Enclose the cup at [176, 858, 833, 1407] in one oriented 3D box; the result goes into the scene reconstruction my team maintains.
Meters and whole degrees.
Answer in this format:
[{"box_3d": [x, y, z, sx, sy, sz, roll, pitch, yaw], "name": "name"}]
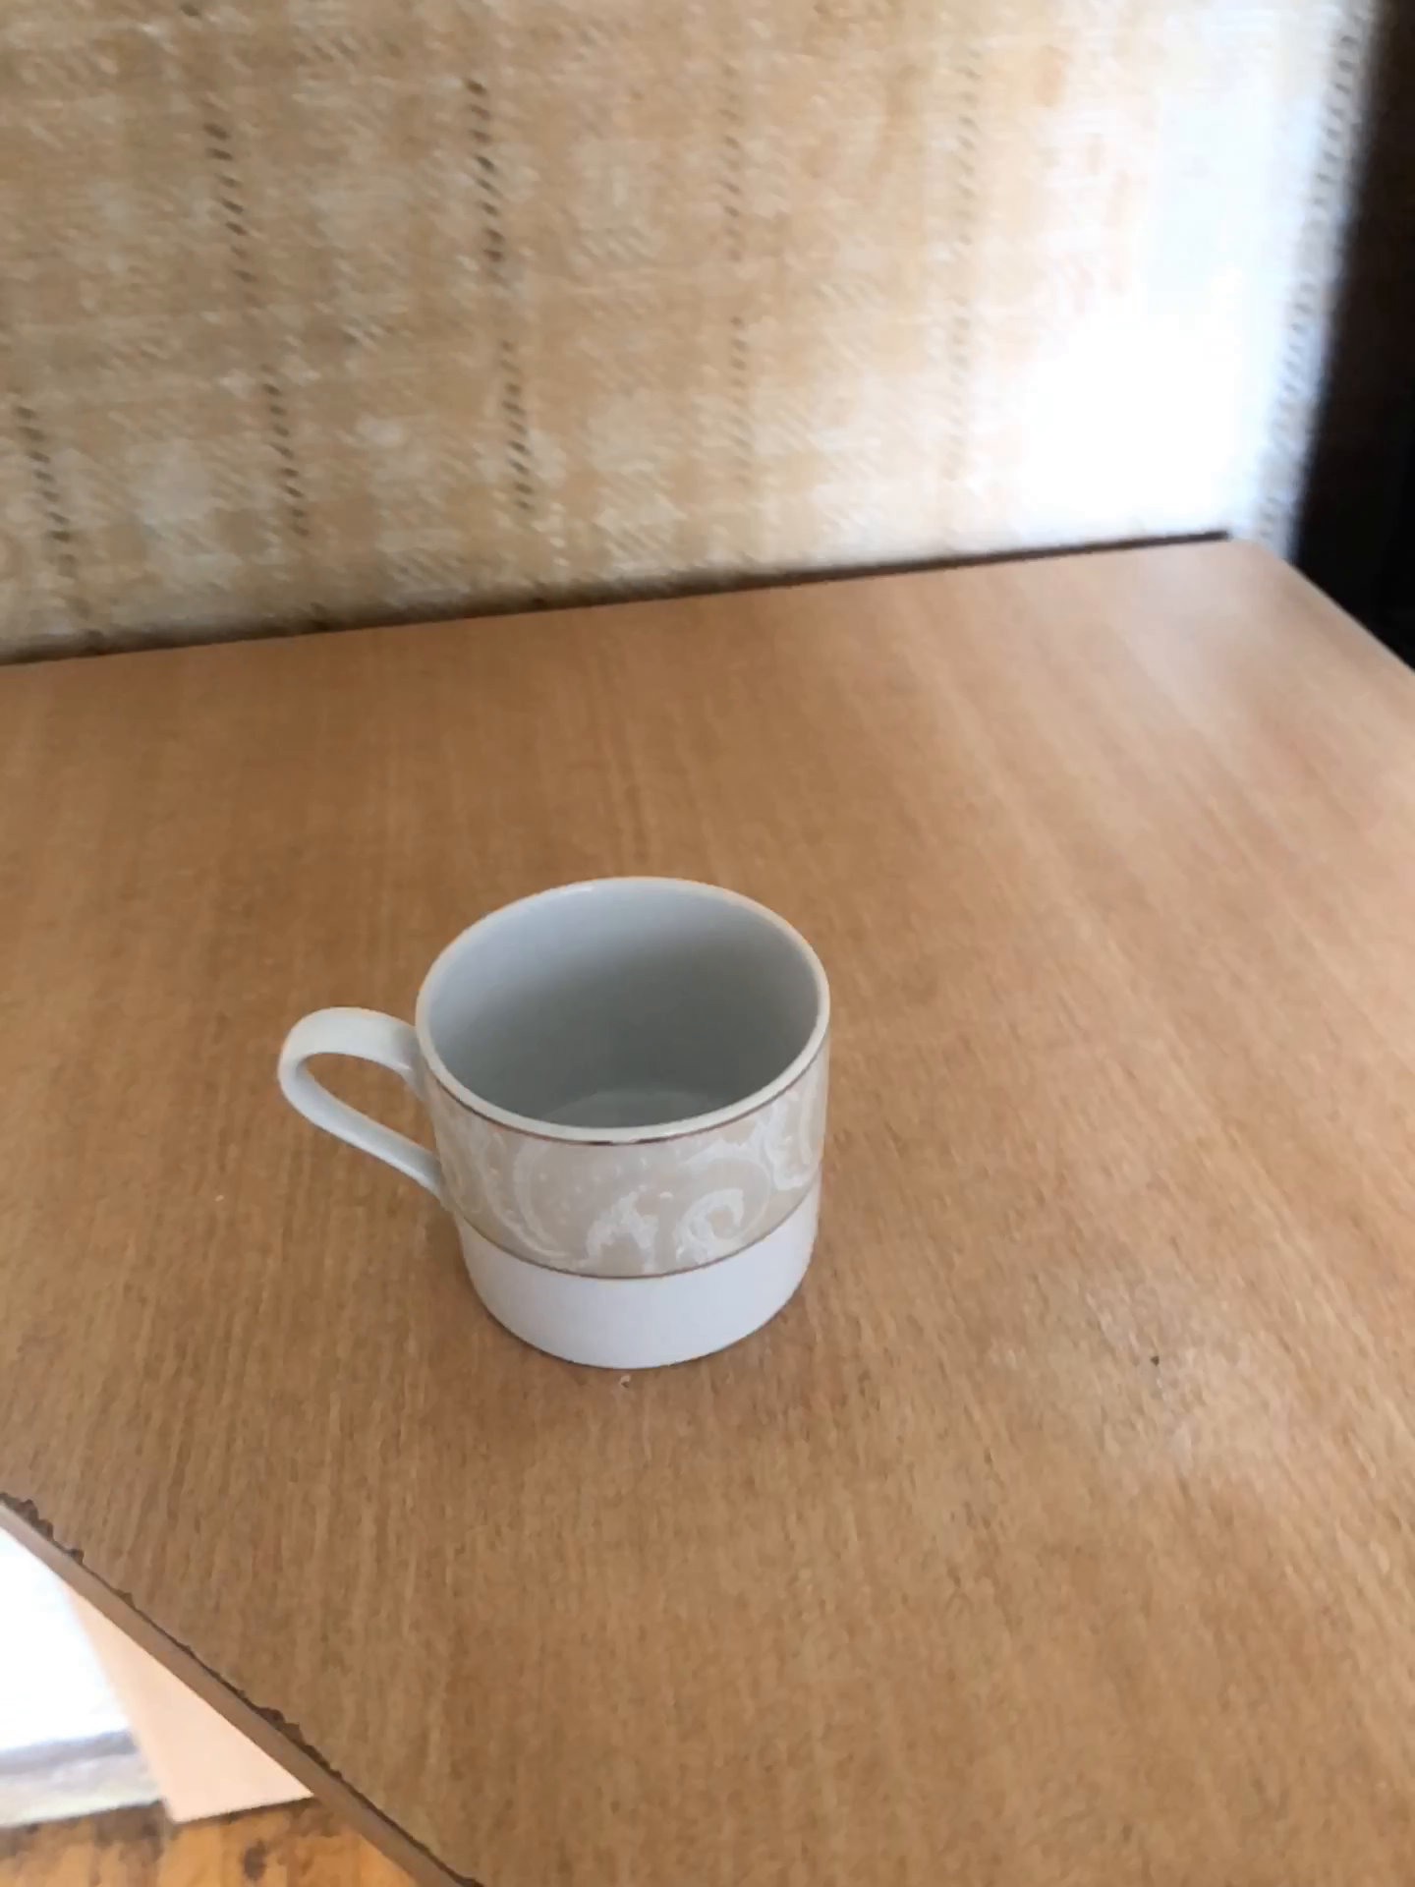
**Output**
[{"box_3d": [-0.029, 0.034, 0.298, 0.105, 0.069, 0.075, 0, 36, 4], "name": "cup"}]
